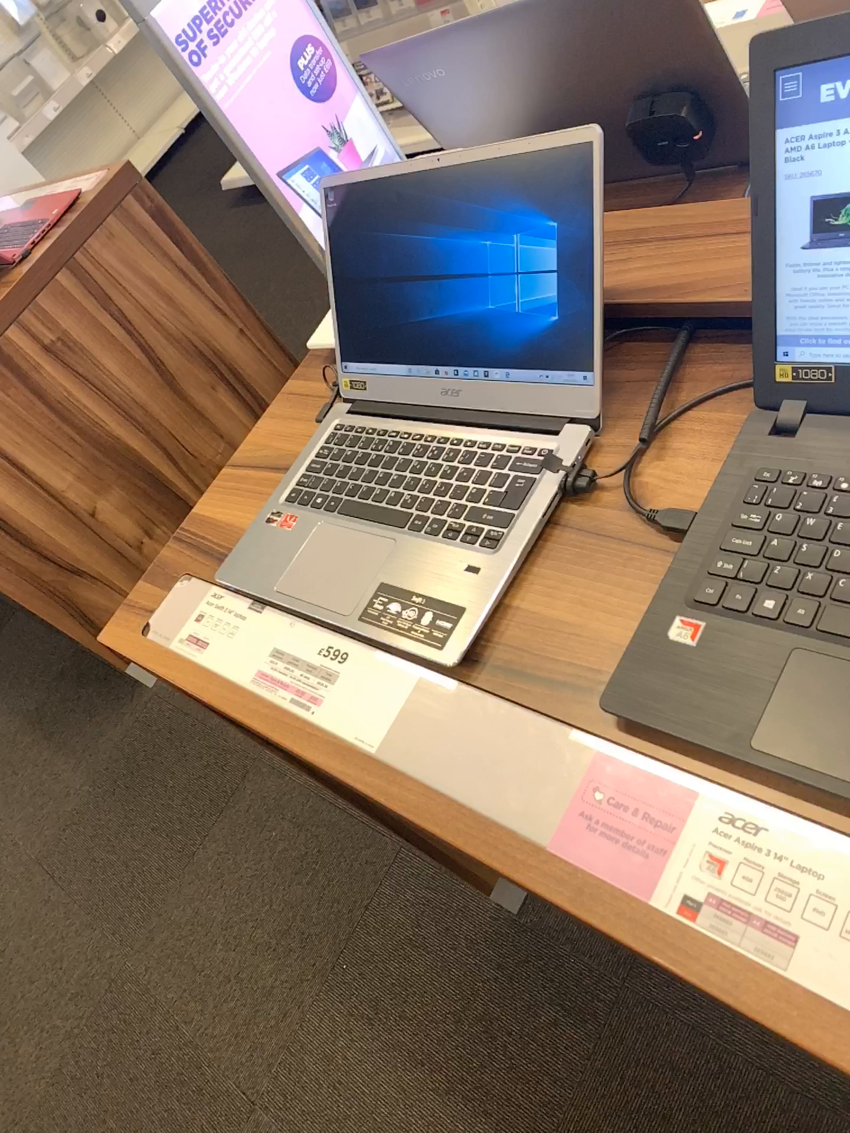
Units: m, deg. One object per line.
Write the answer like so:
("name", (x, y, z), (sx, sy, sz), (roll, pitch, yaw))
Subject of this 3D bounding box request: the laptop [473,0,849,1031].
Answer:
("laptop", (0.286, -0.086, 0.394), (0.372, 0.191, 0.357), (11, 64, 41))

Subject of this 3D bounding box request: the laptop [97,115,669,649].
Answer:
("laptop", (-0.036, -0.159, 0.720), (0.309, 0.153, 0.359), (14, 66, 43))
